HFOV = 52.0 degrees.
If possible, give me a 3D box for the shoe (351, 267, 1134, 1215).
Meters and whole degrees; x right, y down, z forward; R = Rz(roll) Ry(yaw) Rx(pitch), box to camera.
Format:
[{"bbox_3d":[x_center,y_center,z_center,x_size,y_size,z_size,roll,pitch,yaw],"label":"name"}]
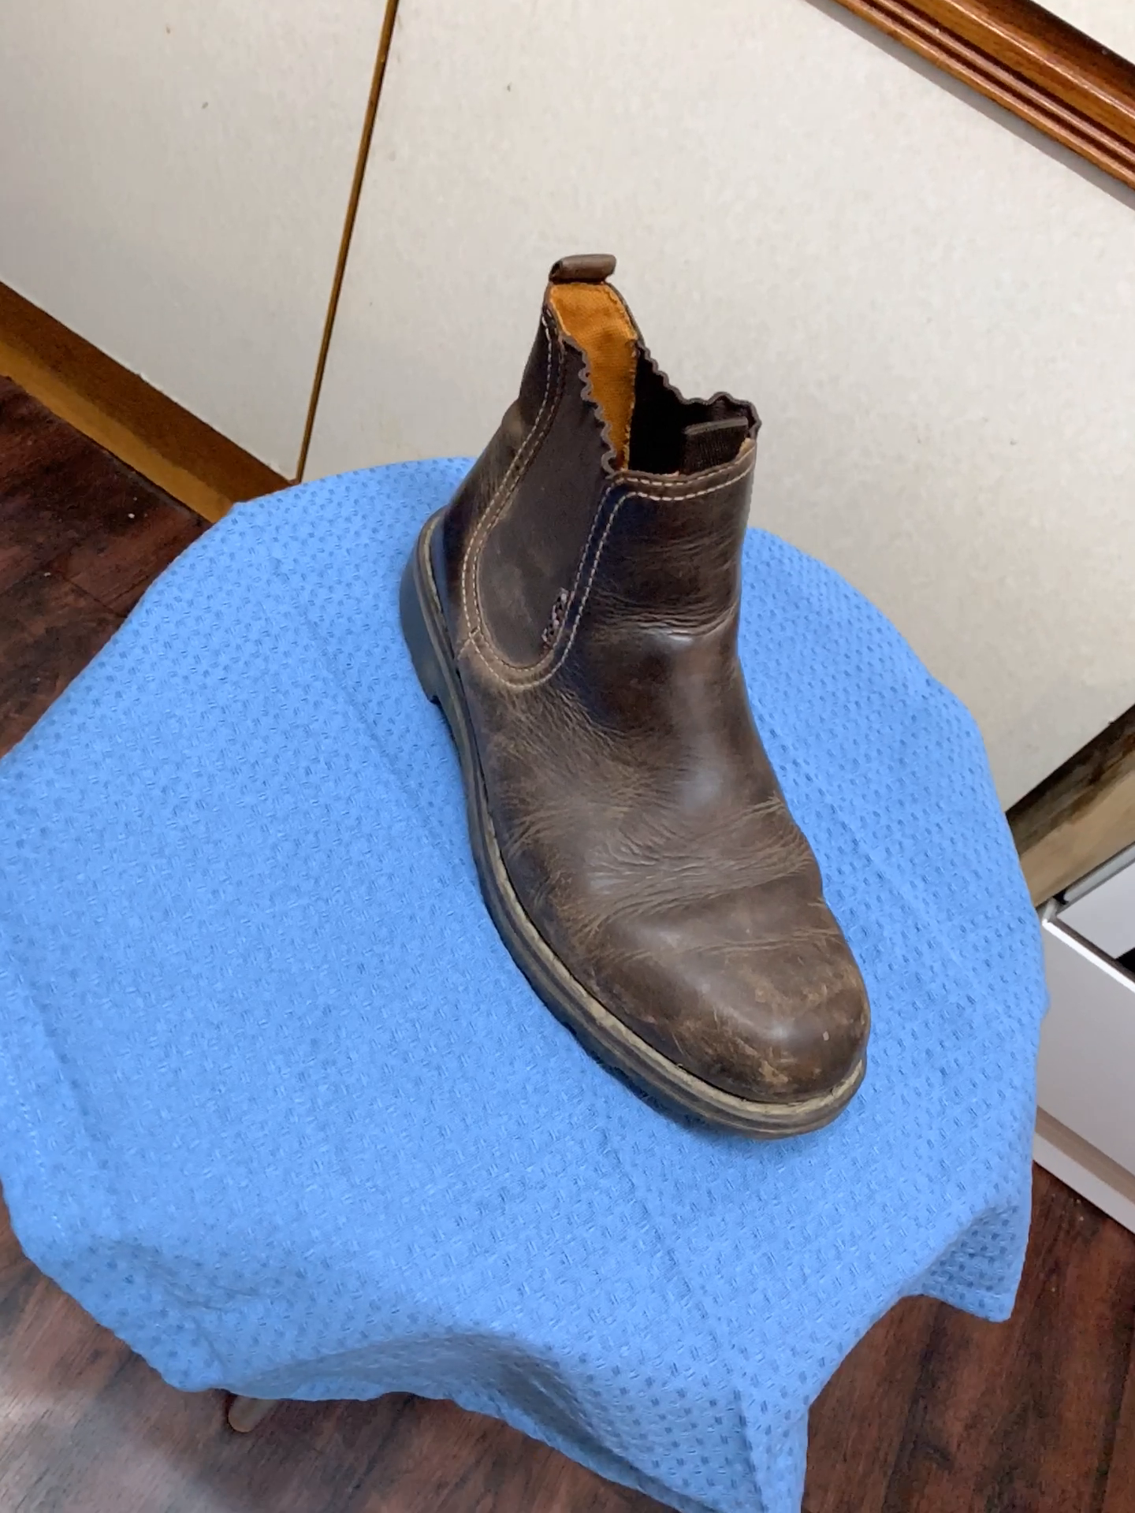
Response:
[{"bbox_3d":[0.034,-0.014,0.411,0.105,0.156,0.279,-12,62,-29],"label":"shoe"}]
